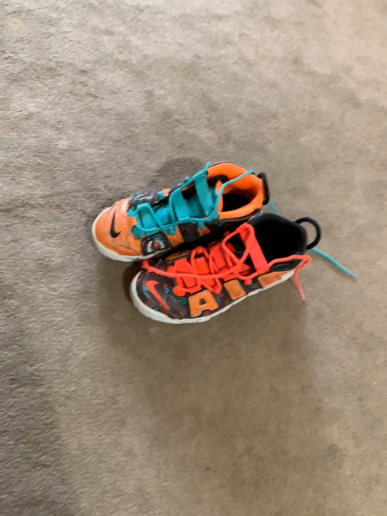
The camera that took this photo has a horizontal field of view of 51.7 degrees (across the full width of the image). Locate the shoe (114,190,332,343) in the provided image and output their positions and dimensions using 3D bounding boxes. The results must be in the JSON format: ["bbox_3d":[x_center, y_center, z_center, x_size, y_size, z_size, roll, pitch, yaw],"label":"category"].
[{"bbox_3d":[0.032,0.015,0.511,0.230,0.110,0.100,-18,72,-8],"label":"shoe"}]

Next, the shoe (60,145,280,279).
[{"bbox_3d":[-0.030,-0.058,0.526,0.250,0.090,0.100,-13,75,-7],"label":"shoe"}]
